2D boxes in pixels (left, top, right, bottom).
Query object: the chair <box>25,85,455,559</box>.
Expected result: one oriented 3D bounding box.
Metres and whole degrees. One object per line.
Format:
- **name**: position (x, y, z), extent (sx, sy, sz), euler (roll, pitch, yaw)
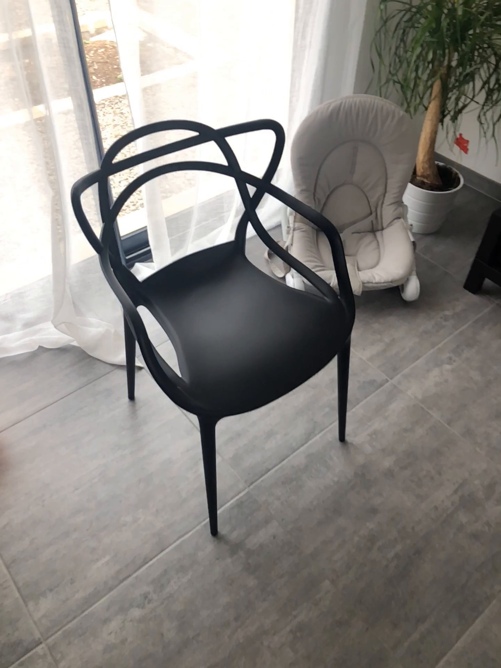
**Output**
- **chair**: position (-0.040, -0.024, 1.309), extent (0.565, 0.795, 0.586), euler (-29, 54, -25)
